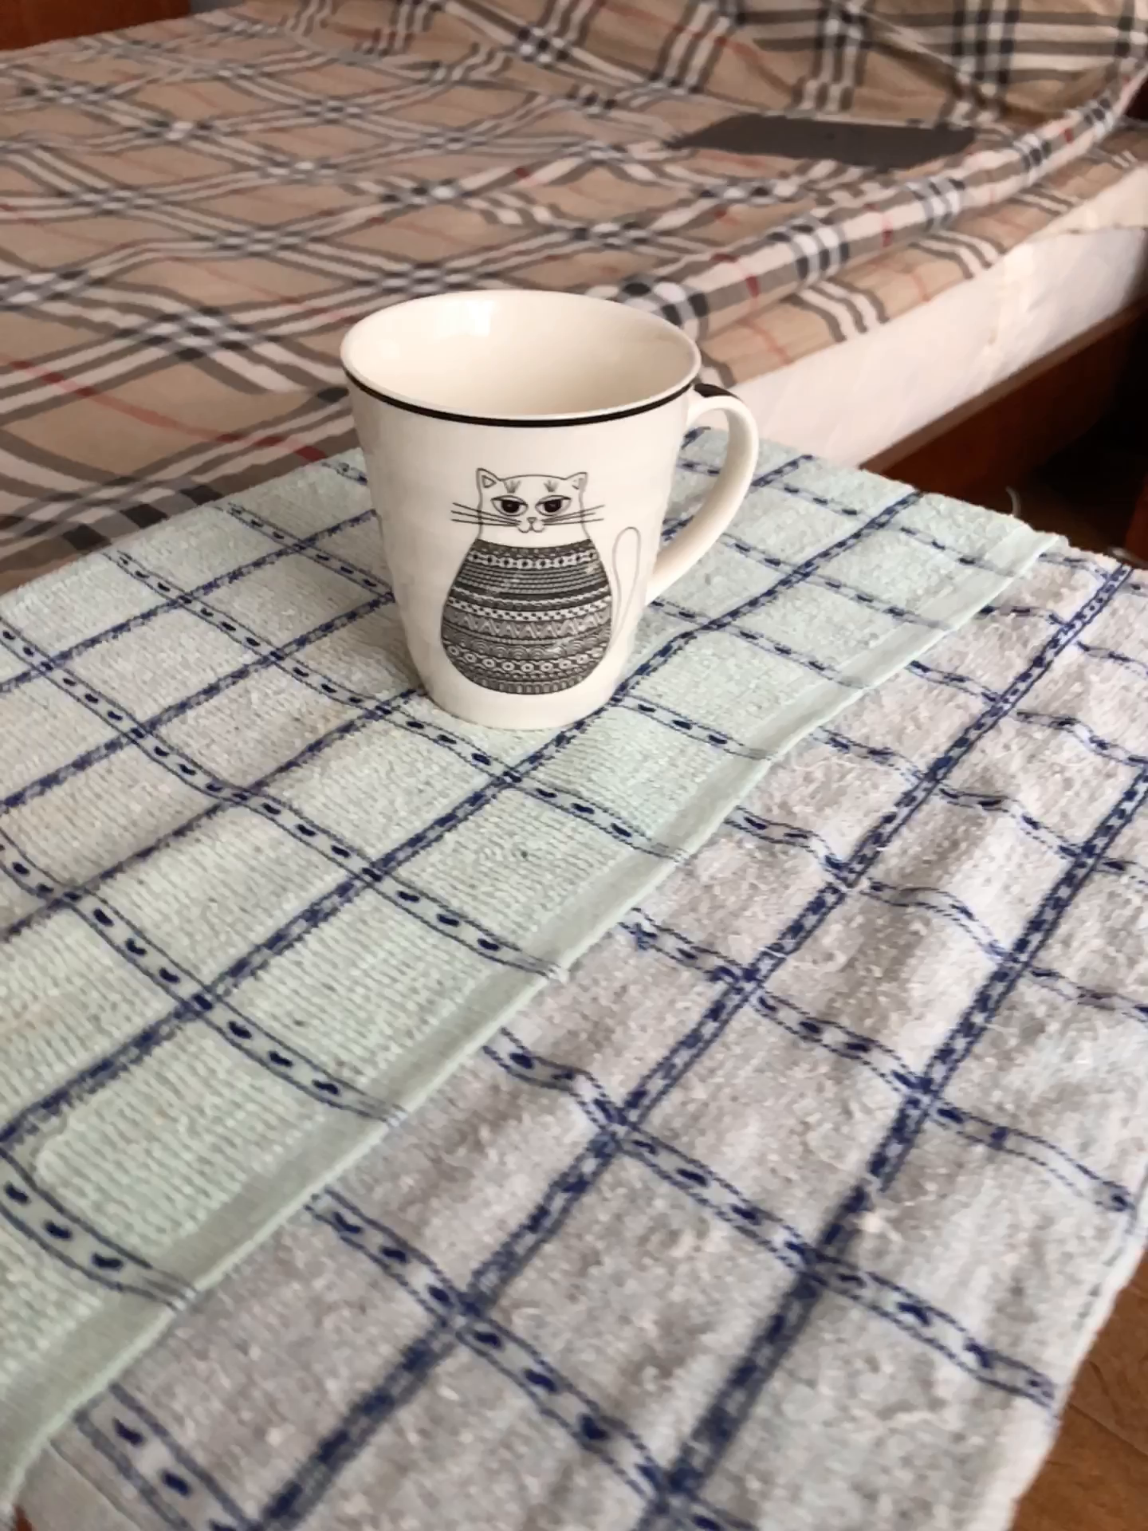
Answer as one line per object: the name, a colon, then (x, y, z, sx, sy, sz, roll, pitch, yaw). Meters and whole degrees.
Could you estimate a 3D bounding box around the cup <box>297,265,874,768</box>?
cup: (-0.001, -0.074, 0.352, 0.123, 0.090, 0.091, -13, 40, -18)
